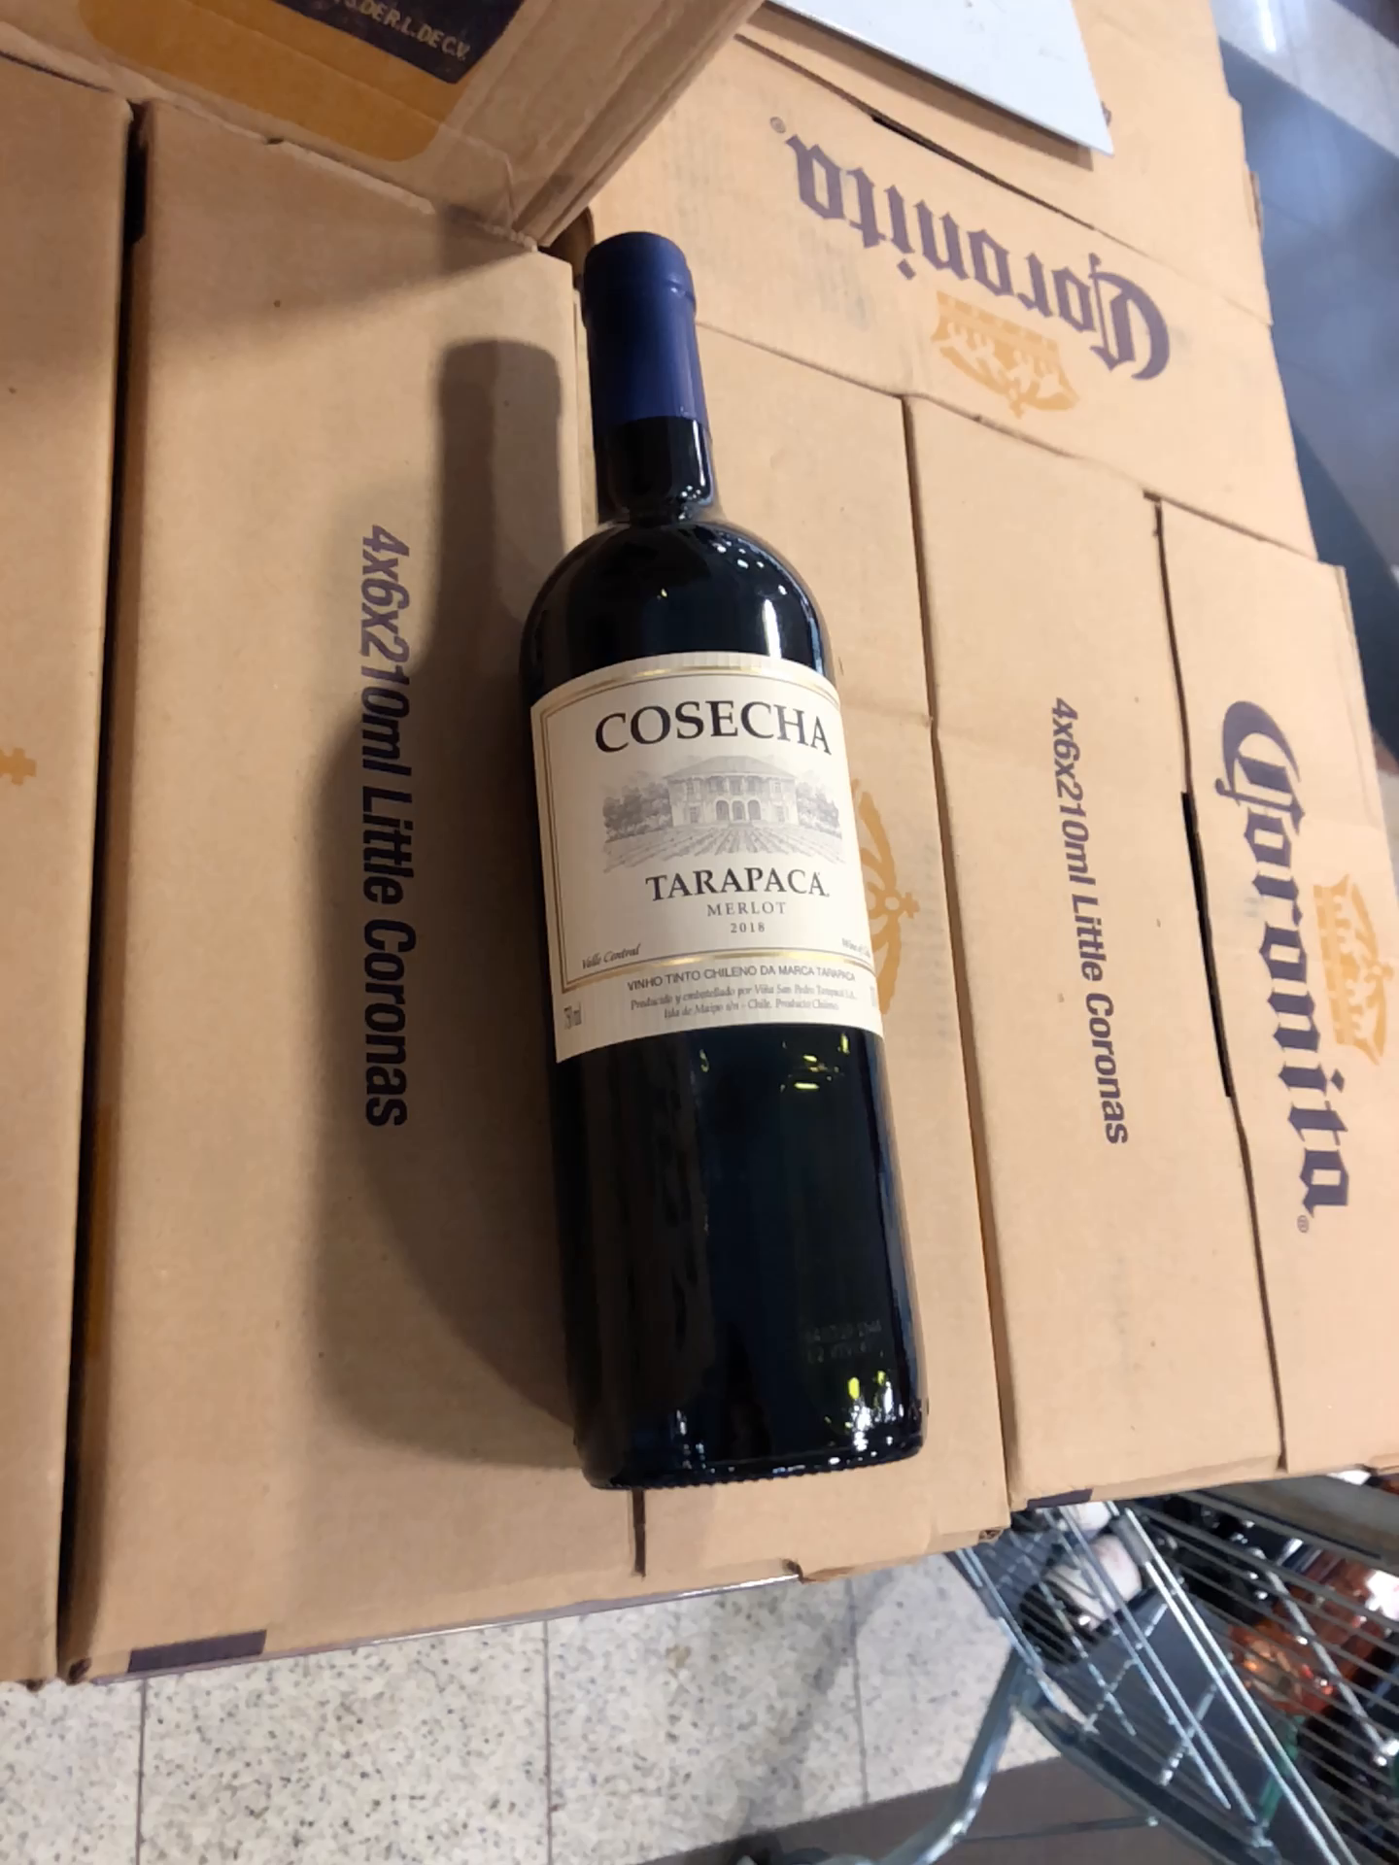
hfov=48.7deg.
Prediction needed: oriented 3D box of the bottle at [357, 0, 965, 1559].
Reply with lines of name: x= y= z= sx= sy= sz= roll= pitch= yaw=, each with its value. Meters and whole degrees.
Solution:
bottle: x=-0.017 y=-0.047 z=0.337 sx=0.070 sy=0.060 sz=0.330 roll=11 pitch=64 yaw=-45
